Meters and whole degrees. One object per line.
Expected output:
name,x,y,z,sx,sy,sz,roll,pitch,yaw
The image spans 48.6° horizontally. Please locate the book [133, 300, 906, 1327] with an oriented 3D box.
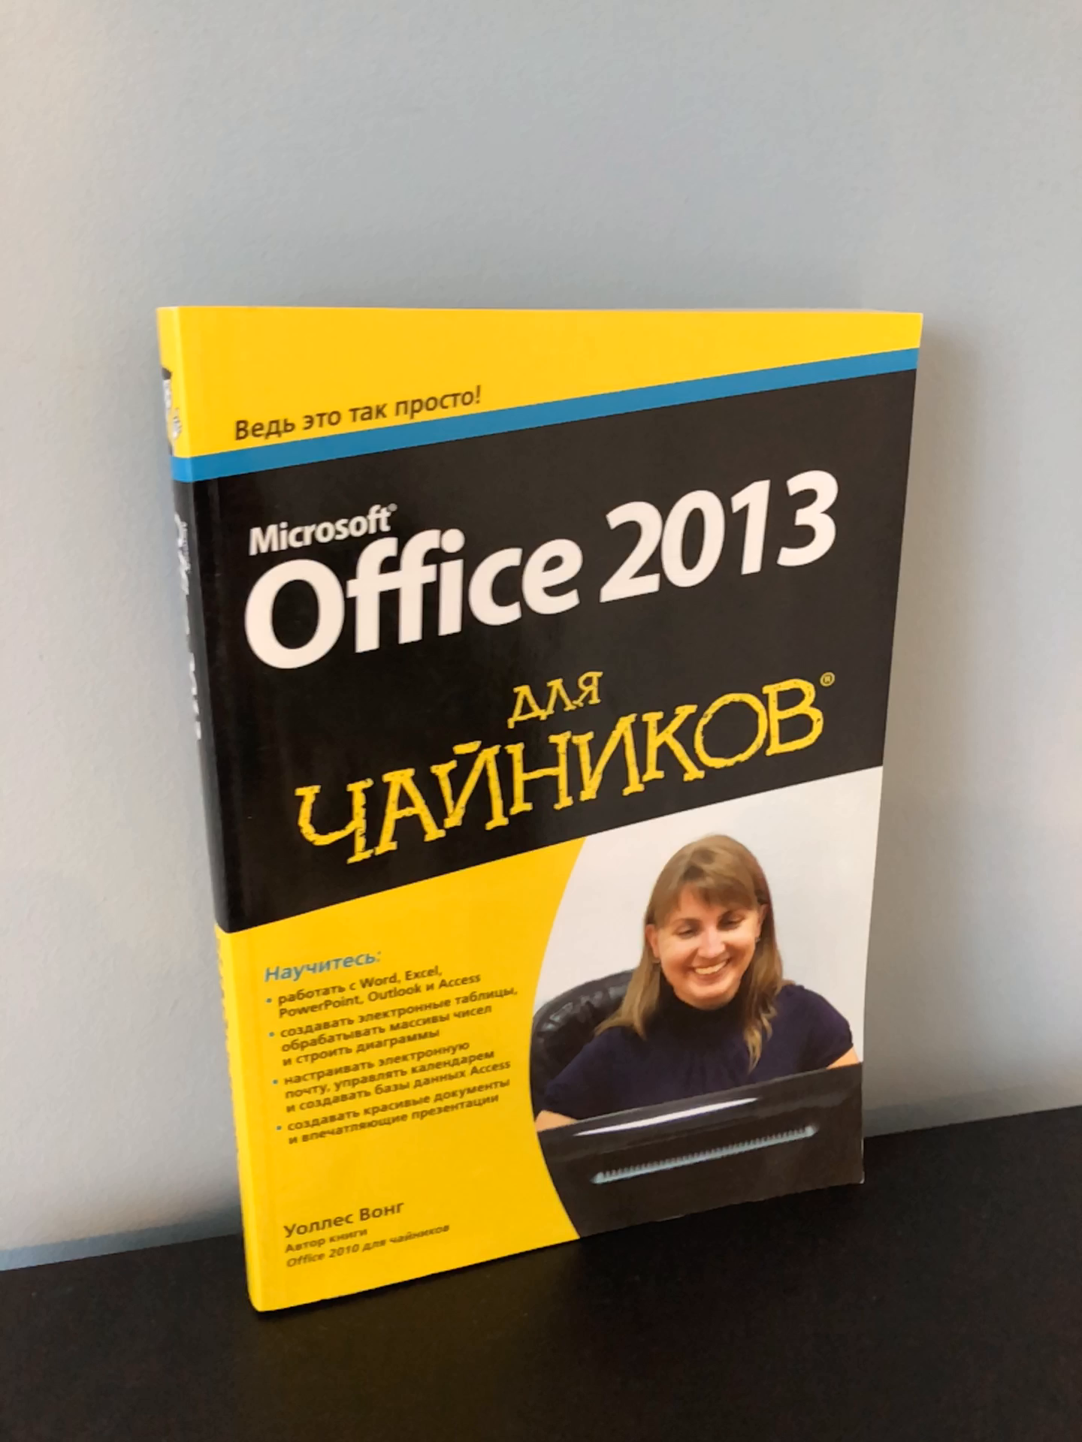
book,0.000,0.021,0.292,0.164,0.233,0.031,-6,17,-17
